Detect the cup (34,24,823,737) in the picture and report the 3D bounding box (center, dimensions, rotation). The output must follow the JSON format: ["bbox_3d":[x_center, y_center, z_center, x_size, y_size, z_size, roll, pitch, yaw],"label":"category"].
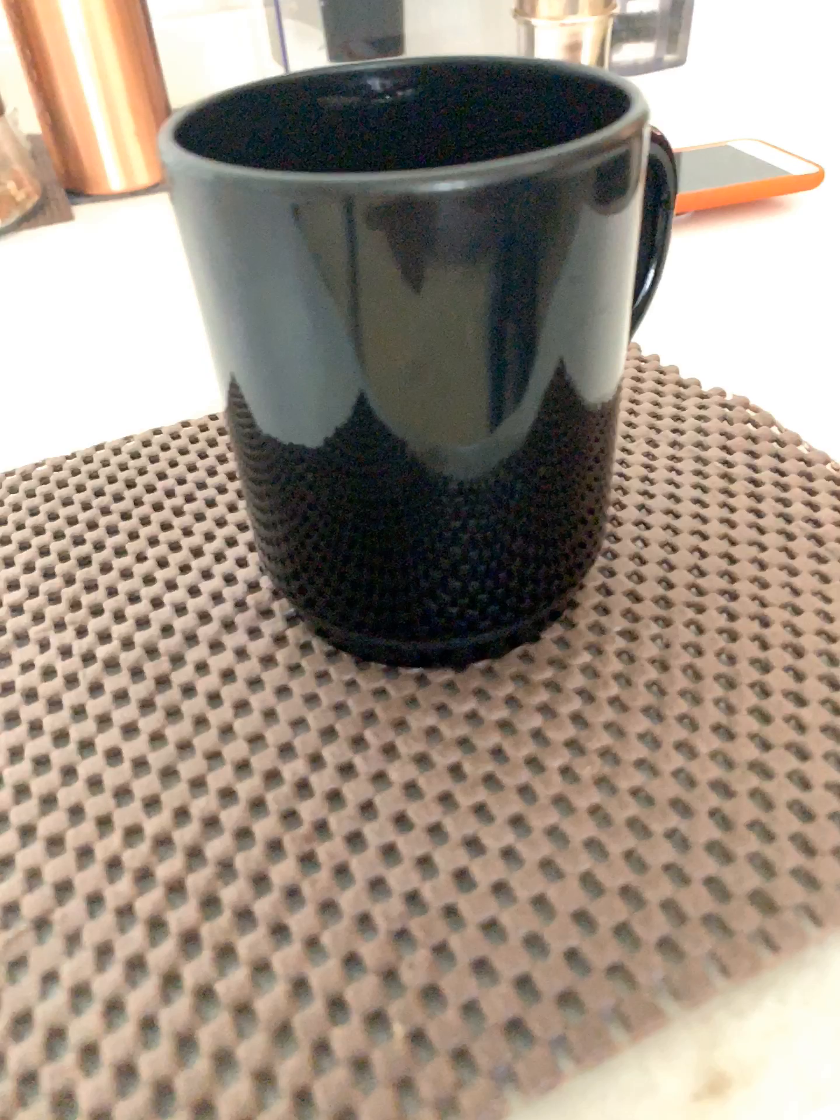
[{"bbox_3d":[0.005,-0.043,0.164,0.101,0.080,0.077,-34,48,-30],"label":"cup"}]
